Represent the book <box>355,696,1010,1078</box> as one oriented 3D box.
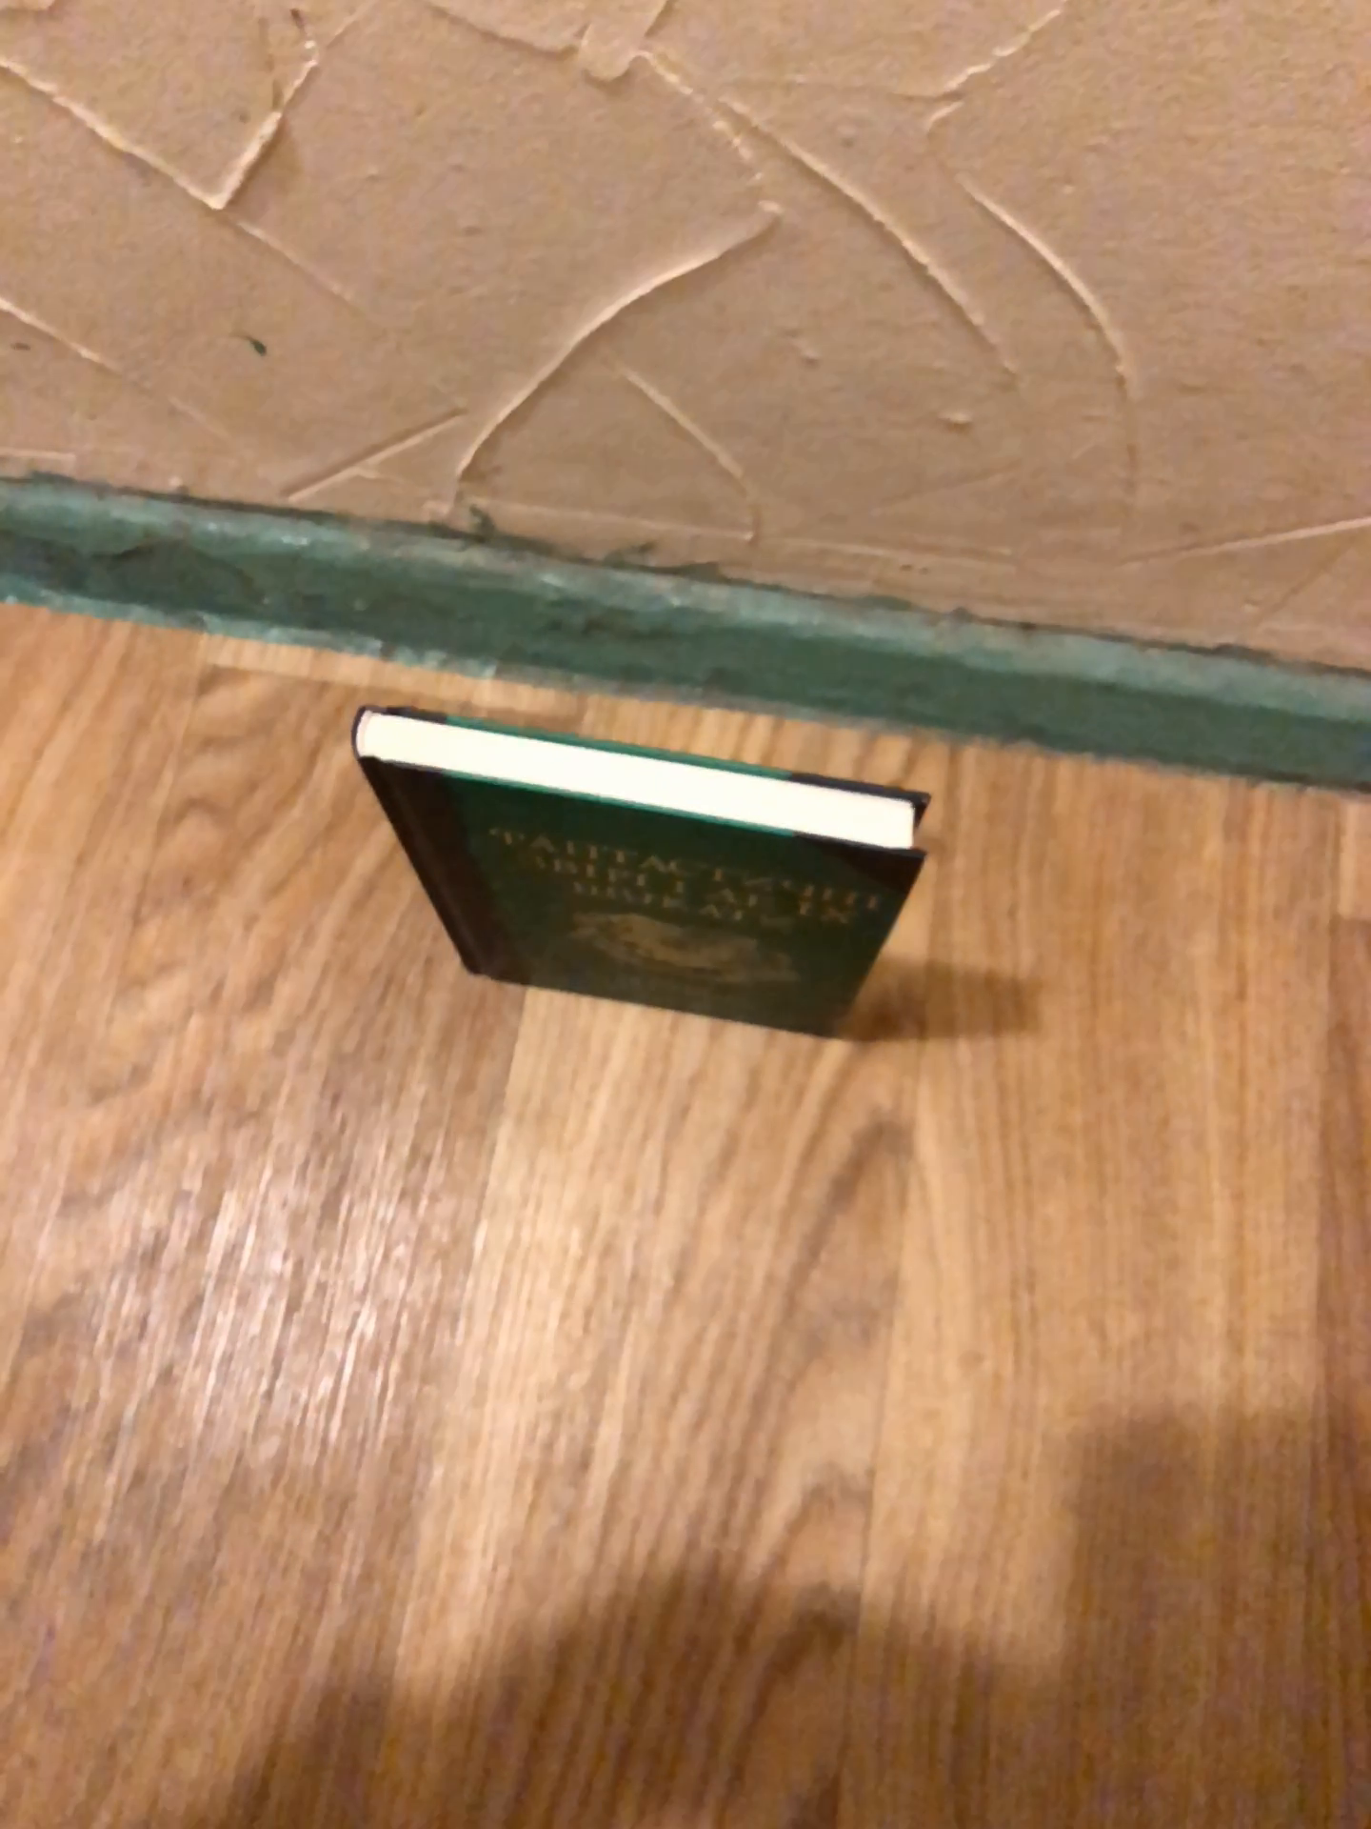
[{"bbox_3d":[-0.001,0.003,0.440,0.148,0.197,0.024,10,73,3],"label":"book"}]
